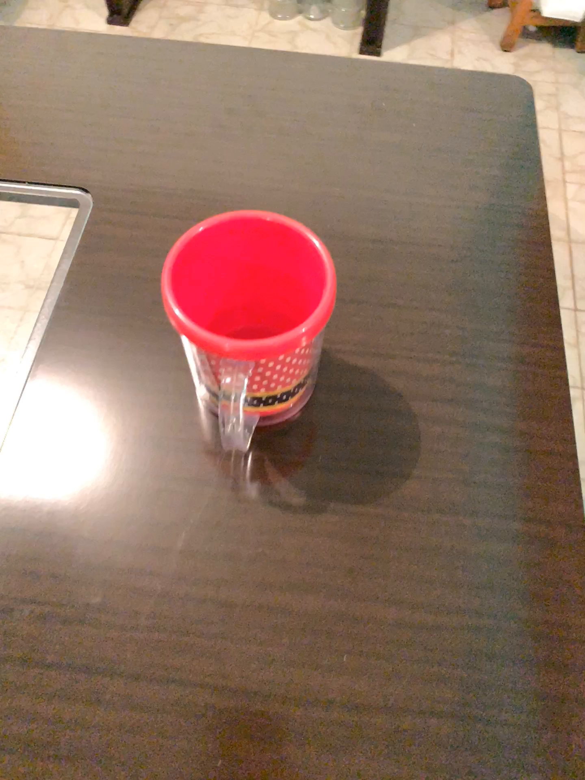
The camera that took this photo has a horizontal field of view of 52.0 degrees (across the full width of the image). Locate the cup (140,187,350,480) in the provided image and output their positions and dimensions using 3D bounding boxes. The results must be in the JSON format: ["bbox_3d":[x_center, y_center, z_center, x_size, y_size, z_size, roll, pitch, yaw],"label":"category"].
[{"bbox_3d":[-0.019,-0.028,0.344,0.090,0.110,0.120,4,61,2],"label":"cup"}]
